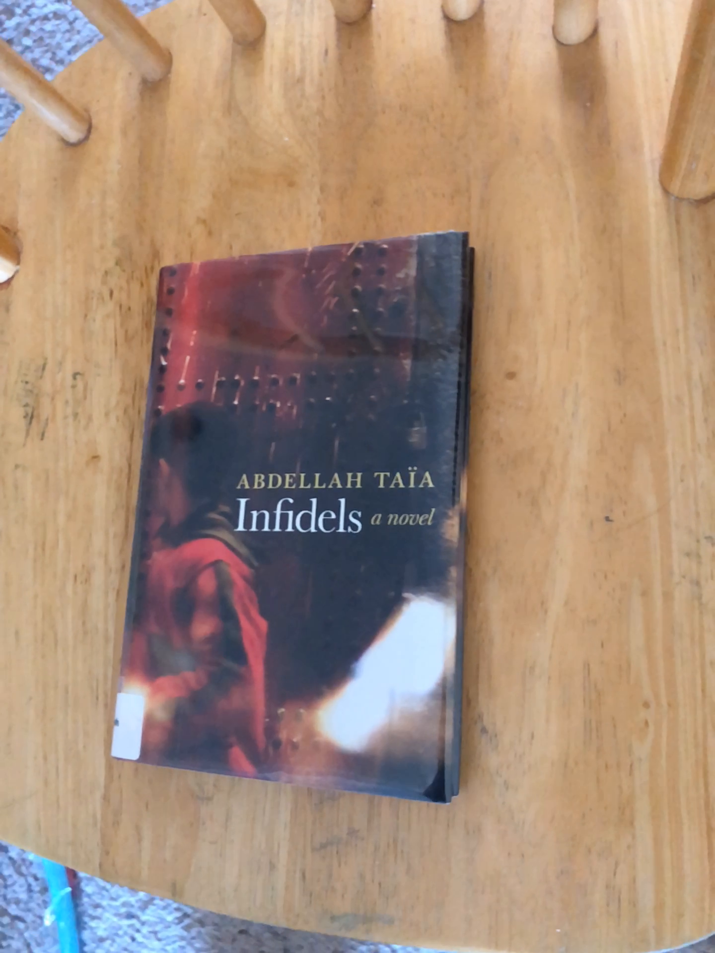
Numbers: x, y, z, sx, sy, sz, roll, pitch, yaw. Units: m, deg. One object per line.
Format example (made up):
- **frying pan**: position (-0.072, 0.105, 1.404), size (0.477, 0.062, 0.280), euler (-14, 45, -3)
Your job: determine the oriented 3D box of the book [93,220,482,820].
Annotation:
- **book**: position (-0.027, 0.010, 0.320), size (0.143, 0.020, 0.216), euler (0, 79, 22)
